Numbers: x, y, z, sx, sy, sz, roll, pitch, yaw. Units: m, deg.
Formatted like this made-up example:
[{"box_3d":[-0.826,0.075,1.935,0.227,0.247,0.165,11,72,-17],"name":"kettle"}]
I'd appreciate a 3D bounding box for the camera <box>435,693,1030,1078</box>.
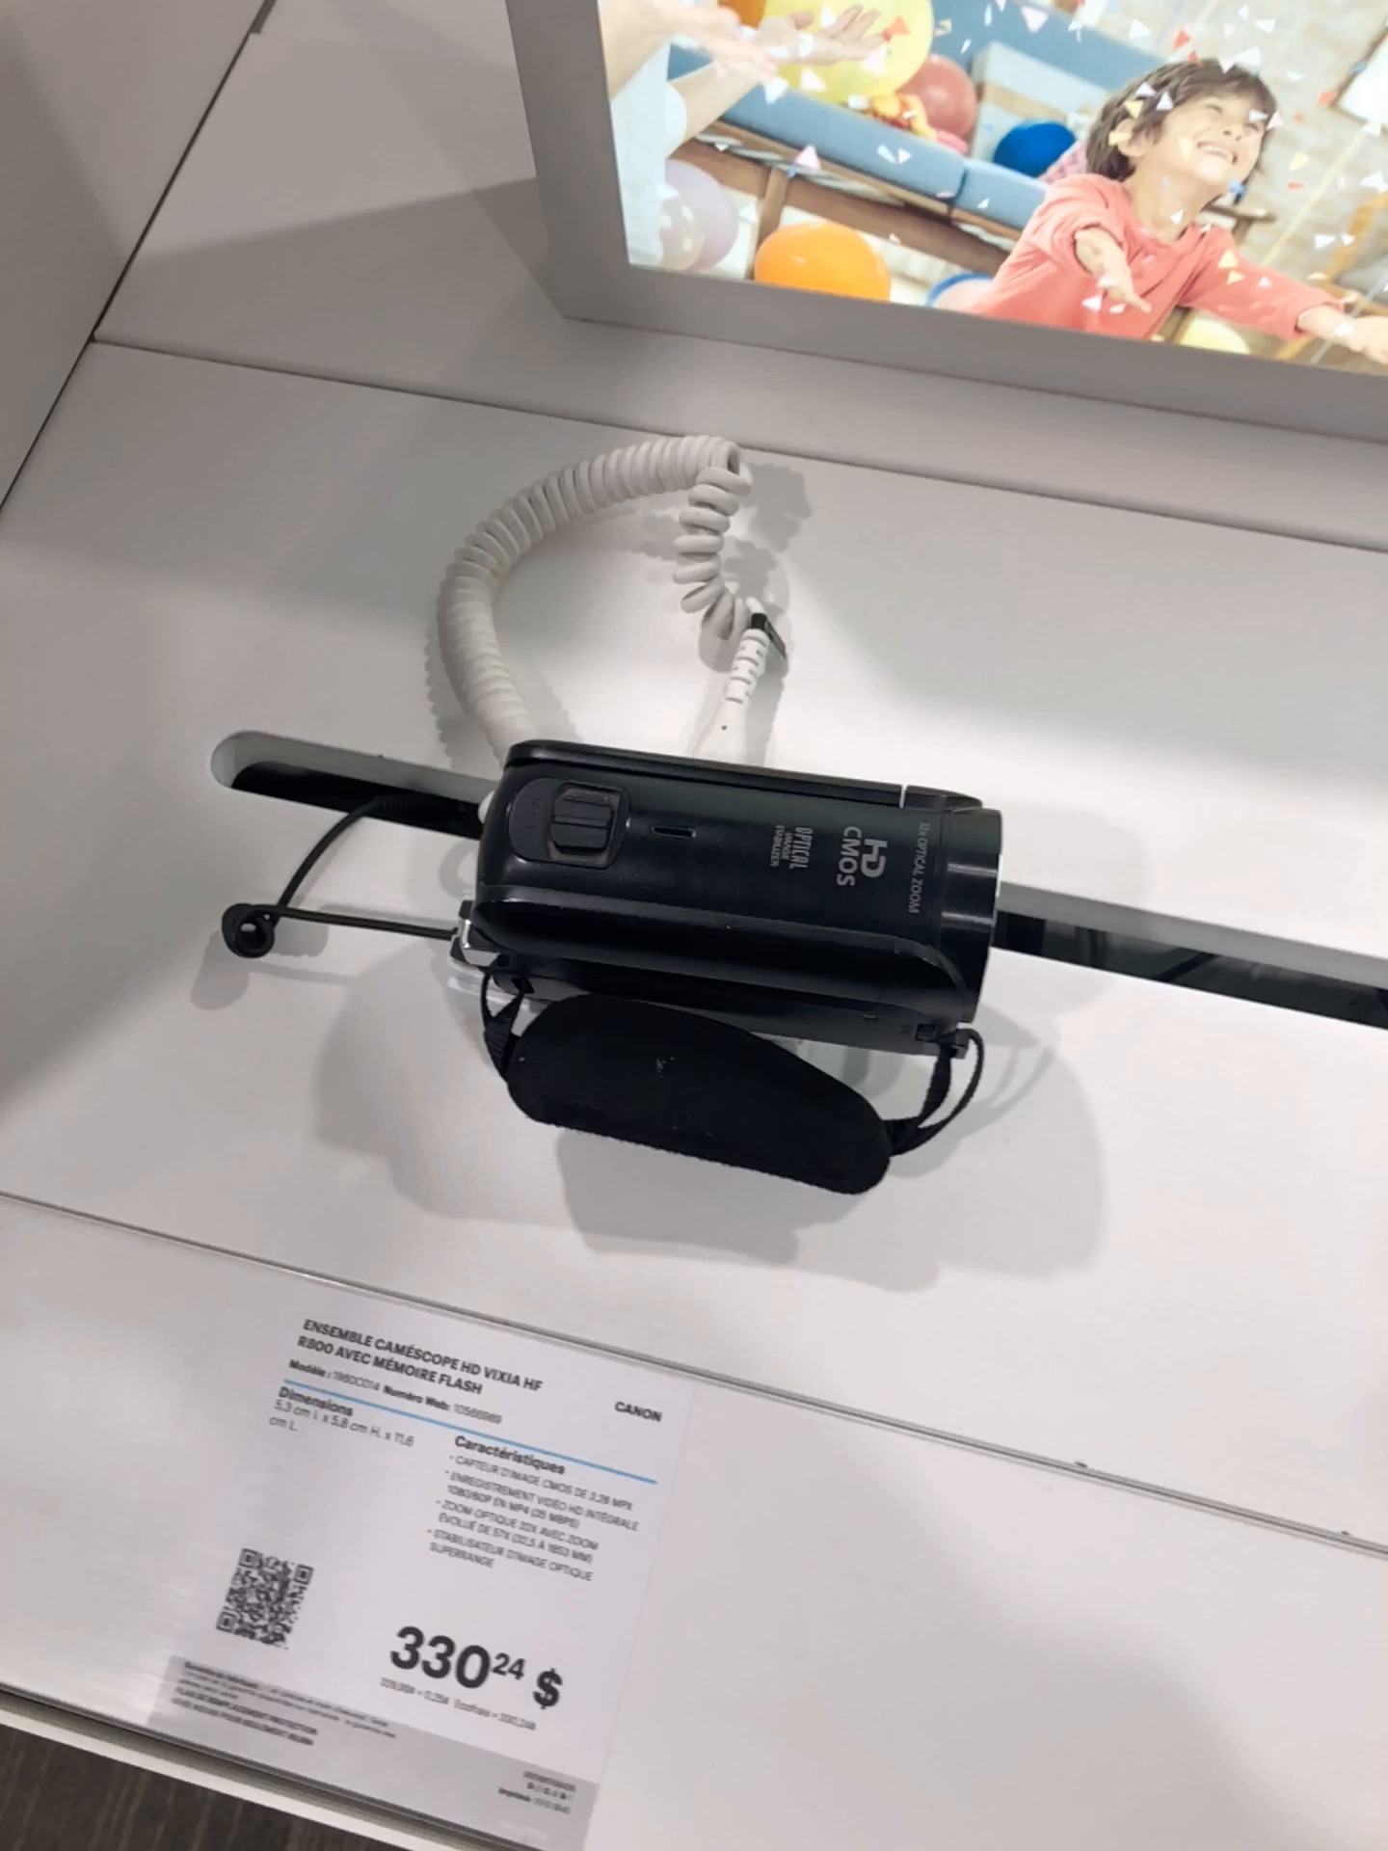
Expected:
[{"box_3d":[0.010,-0.008,0.334,0.113,0.050,0.050,9,67,7],"name":"camera"}]
